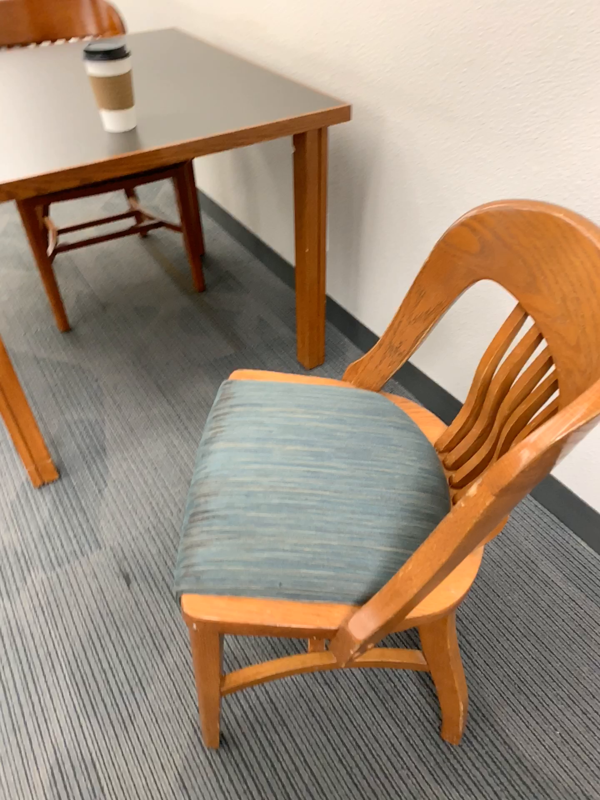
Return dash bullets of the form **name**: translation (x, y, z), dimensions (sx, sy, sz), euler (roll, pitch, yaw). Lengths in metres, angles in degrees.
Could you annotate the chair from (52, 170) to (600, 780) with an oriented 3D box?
- **chair**: translation (0.128, 0.131, 0.934), dimensions (0.620, 0.747, 0.552), euler (2, 42, 3)
